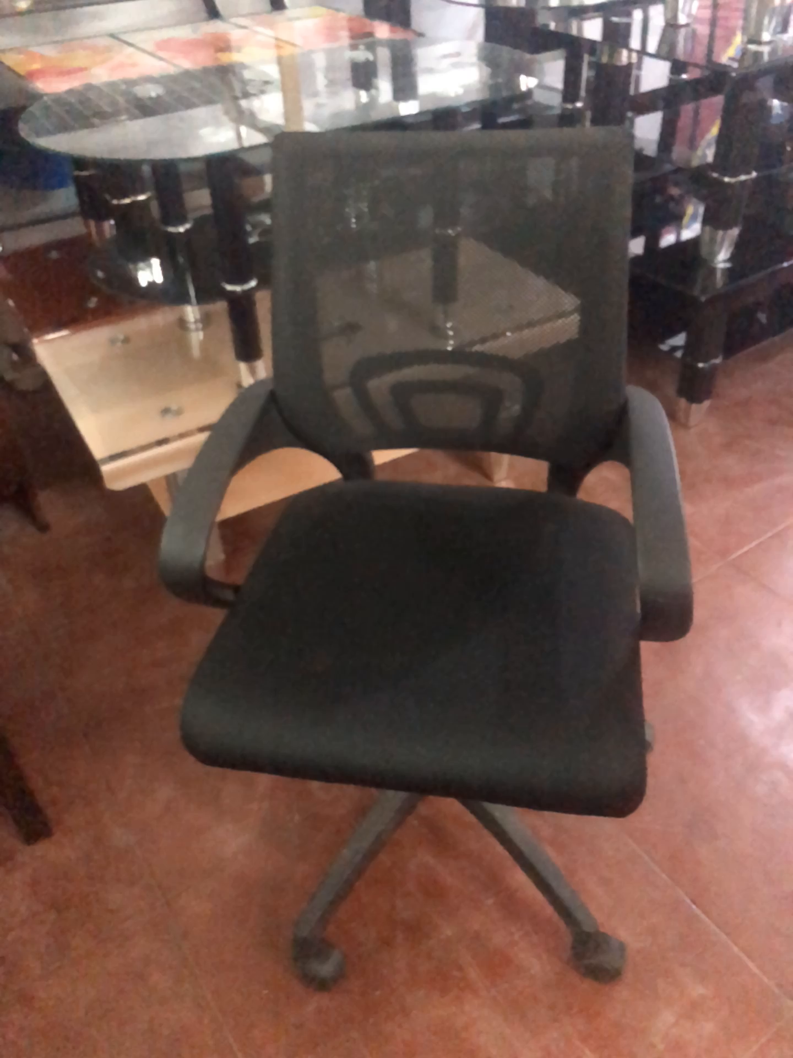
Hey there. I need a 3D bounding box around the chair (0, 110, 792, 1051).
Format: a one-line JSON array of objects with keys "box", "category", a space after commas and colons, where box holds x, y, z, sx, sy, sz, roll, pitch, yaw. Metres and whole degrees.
[{"box": [0.008, 0.058, 1.086, 0.750, 0.915, 0.634, 4, 39, 8], "category": "chair"}]
